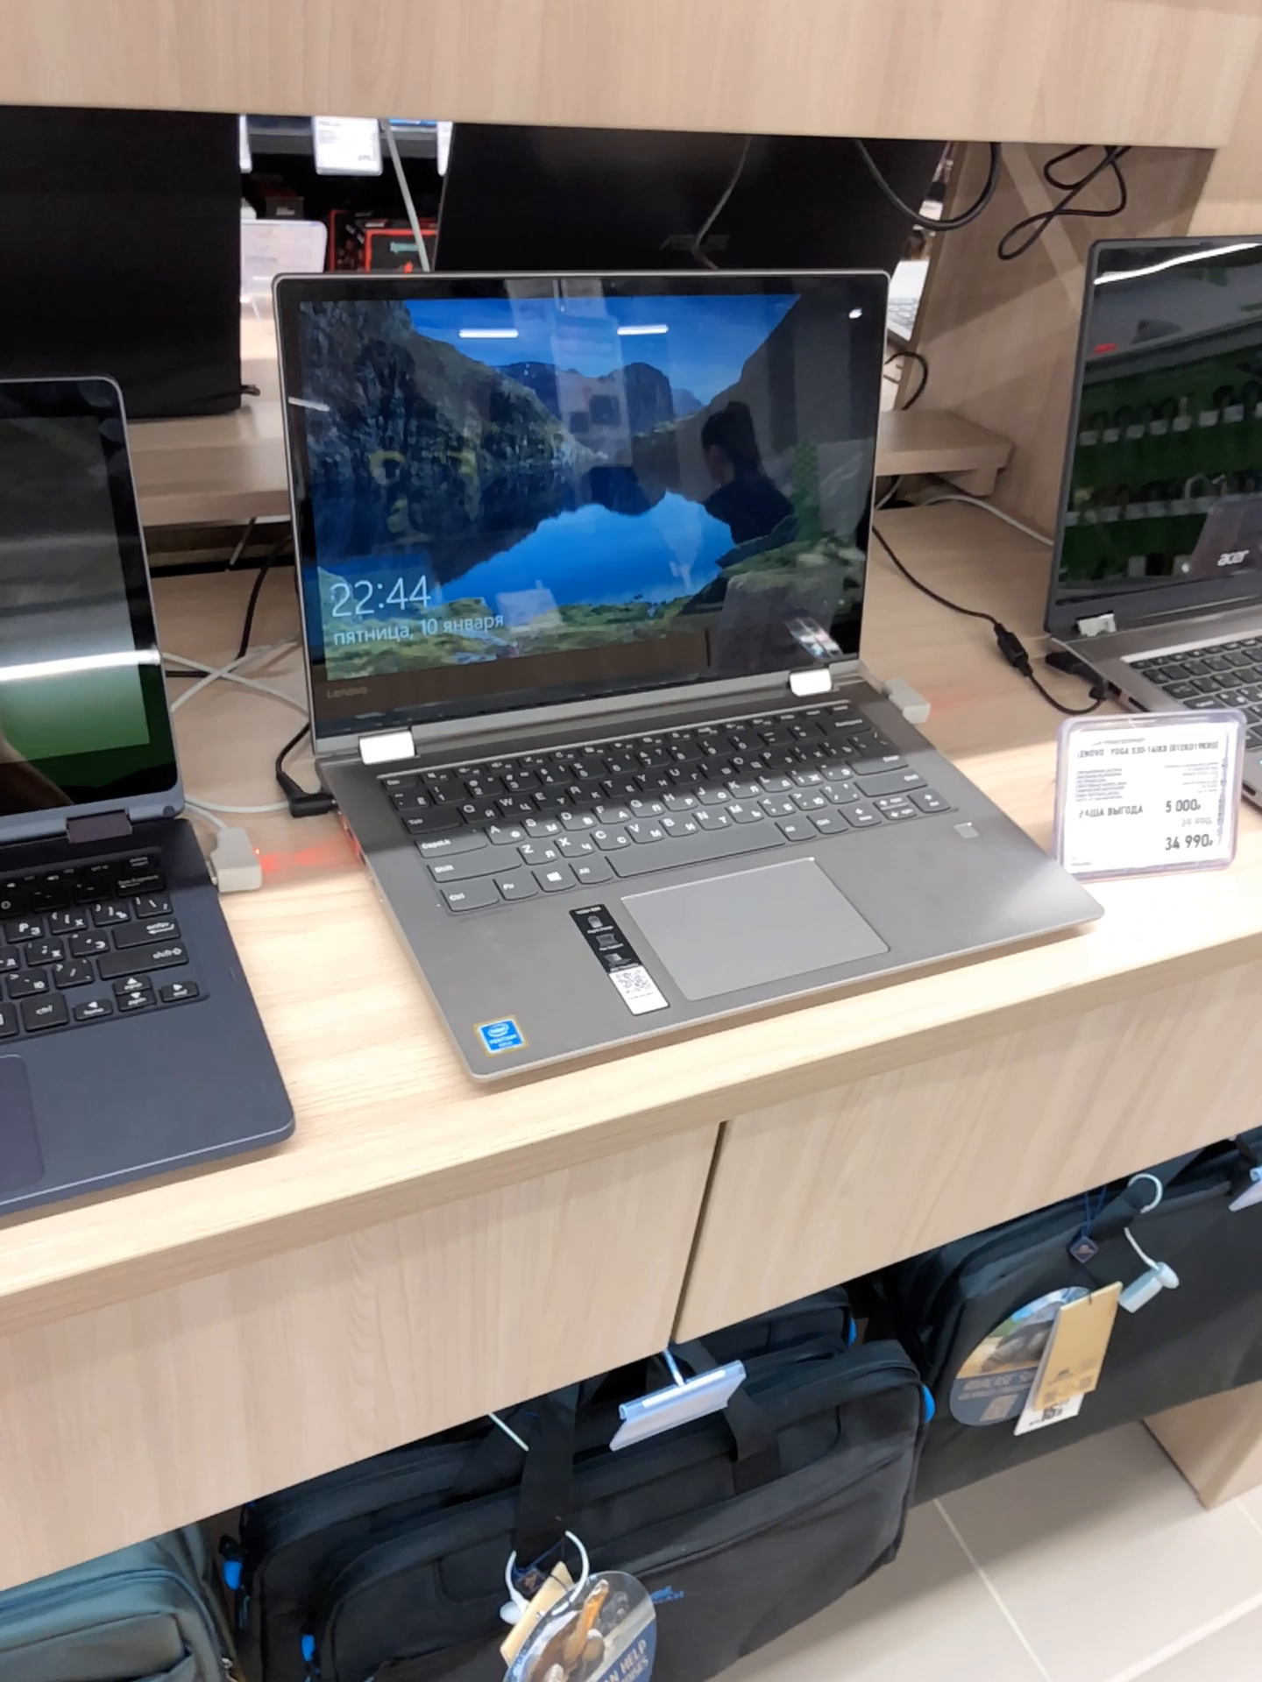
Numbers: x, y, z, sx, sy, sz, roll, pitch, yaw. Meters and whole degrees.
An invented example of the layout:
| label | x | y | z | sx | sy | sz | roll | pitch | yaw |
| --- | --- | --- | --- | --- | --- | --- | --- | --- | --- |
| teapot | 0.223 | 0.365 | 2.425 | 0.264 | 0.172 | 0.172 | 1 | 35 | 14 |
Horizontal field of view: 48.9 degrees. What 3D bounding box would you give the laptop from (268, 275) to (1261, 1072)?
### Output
| label | x | y | z | sx | sy | sz | roll | pitch | yaw |
| --- | --- | --- | --- | --- | --- | --- | --- | --- | --- |
| laptop | 0.033 | -0.103 | 0.635 | 0.312 | 0.205 | 0.288 | -11 | 41 | -28 |
